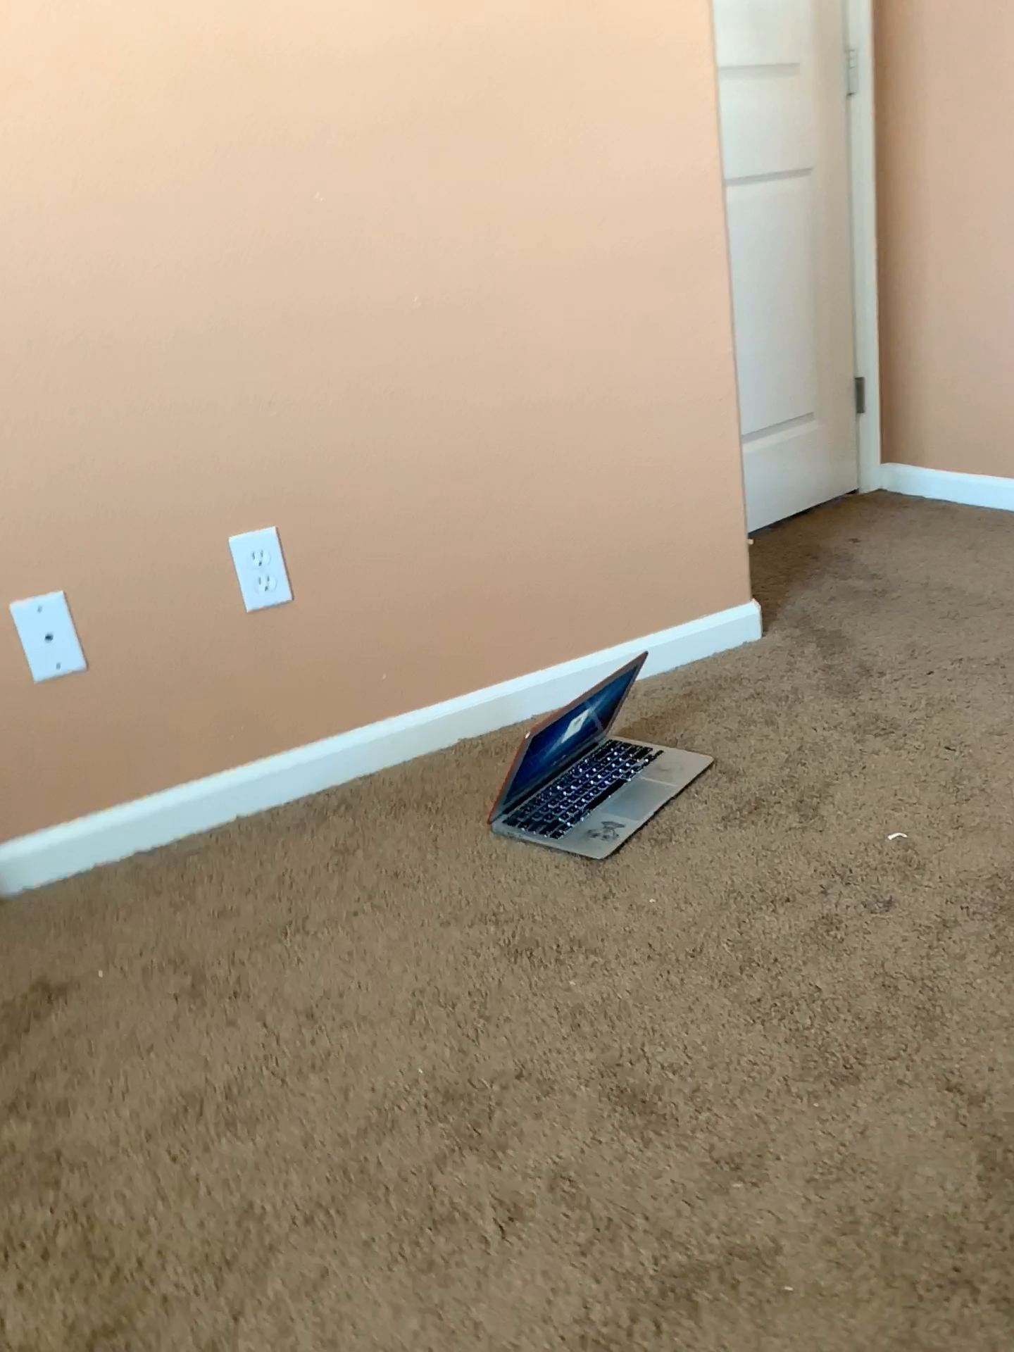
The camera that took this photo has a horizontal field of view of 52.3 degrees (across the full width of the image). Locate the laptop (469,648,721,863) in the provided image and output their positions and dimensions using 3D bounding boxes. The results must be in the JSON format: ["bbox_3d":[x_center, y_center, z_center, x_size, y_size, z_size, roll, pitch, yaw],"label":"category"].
[{"bbox_3d":[0.129,0.094,1.413,0.193,0.148,0.299,9,27,39],"label":"laptop"}]
